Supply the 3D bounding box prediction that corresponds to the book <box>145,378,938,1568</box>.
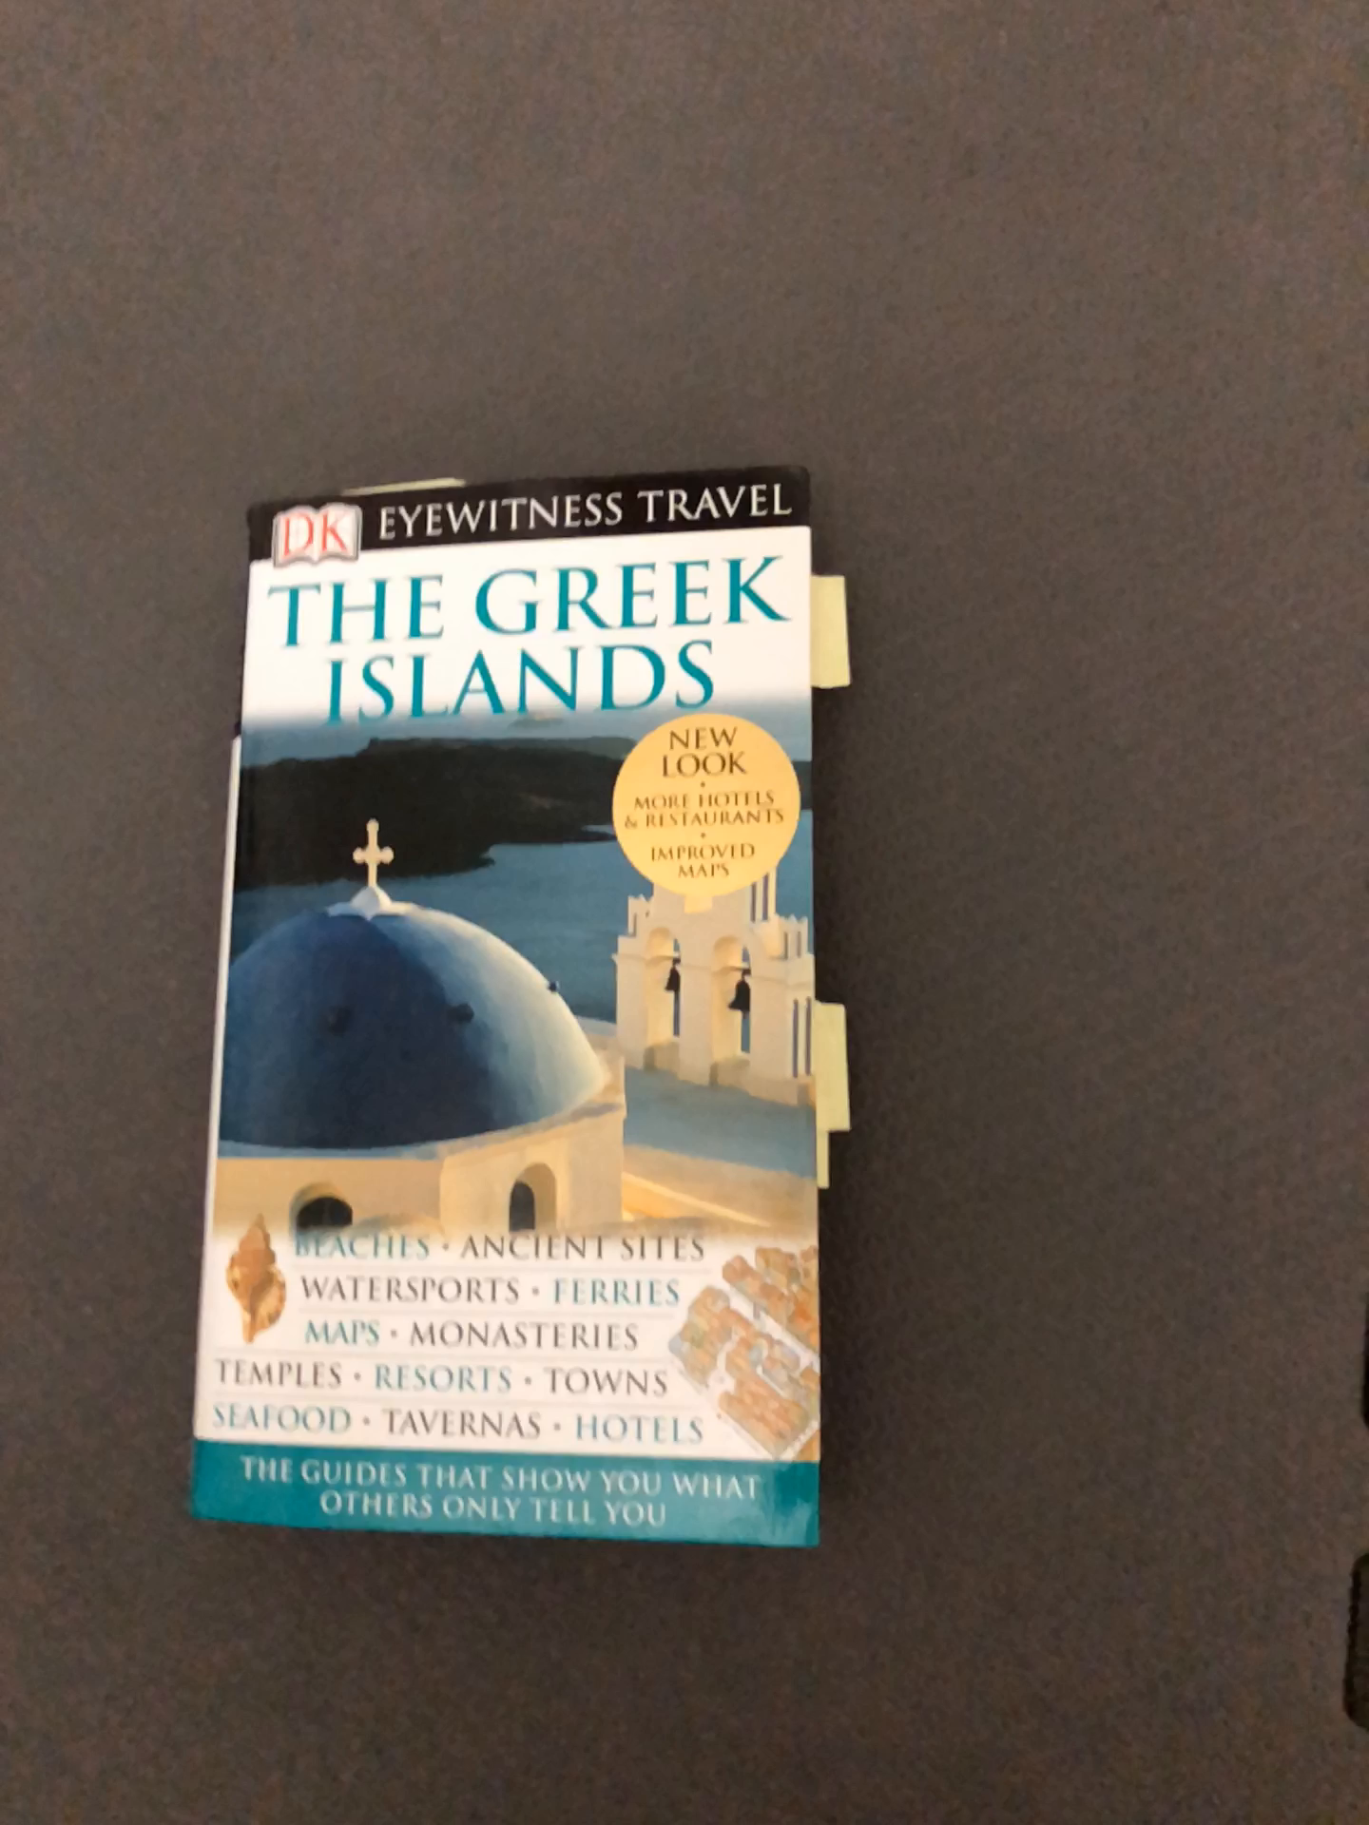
[{"bbox_3d":[-0.028,0.008,0.333,0.160,0.030,0.240,-1,79,12],"label":"book"}]
